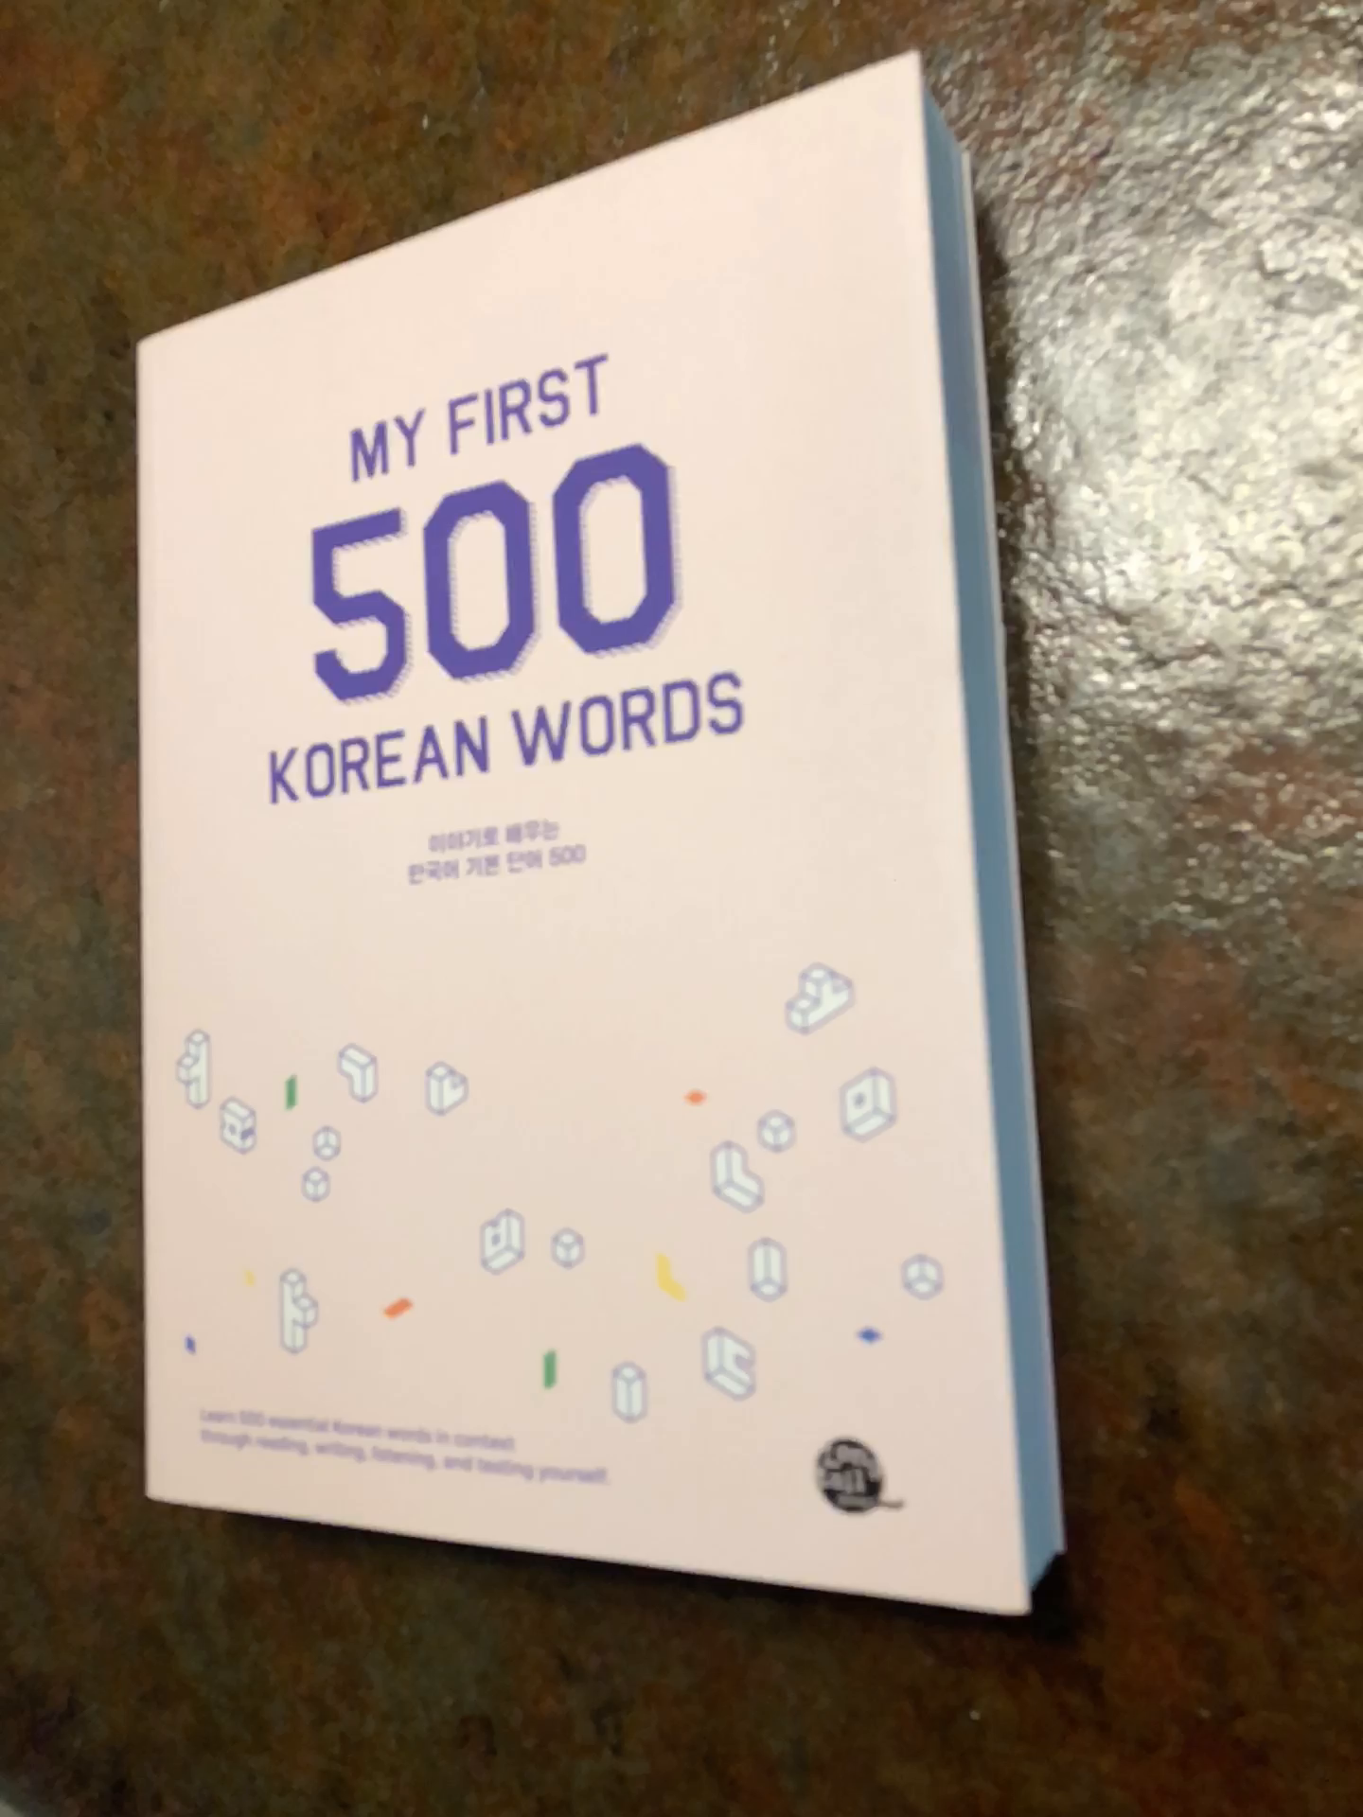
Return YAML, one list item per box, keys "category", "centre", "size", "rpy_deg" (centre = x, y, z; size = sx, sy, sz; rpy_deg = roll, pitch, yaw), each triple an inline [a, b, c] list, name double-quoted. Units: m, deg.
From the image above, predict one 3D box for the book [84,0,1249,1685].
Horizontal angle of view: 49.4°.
- category: "book"
  centre: [-0.018, -0.014, 0.244]
  size: [0.191, 0.030, 0.230]
  rpy_deg: [-5, 83, 27]
